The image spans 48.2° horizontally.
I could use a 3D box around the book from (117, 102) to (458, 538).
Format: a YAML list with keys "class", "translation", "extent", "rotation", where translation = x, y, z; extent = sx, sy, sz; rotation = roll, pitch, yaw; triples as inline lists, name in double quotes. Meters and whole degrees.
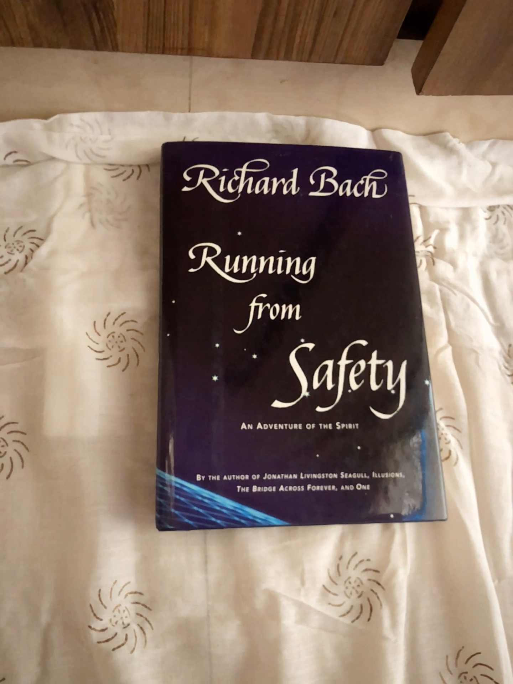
- class: "book"
  translation: [0.014, -0.018, 0.340]
  extent: [0.170, 0.040, 0.250]
  rotation: [4, 68, -12]
